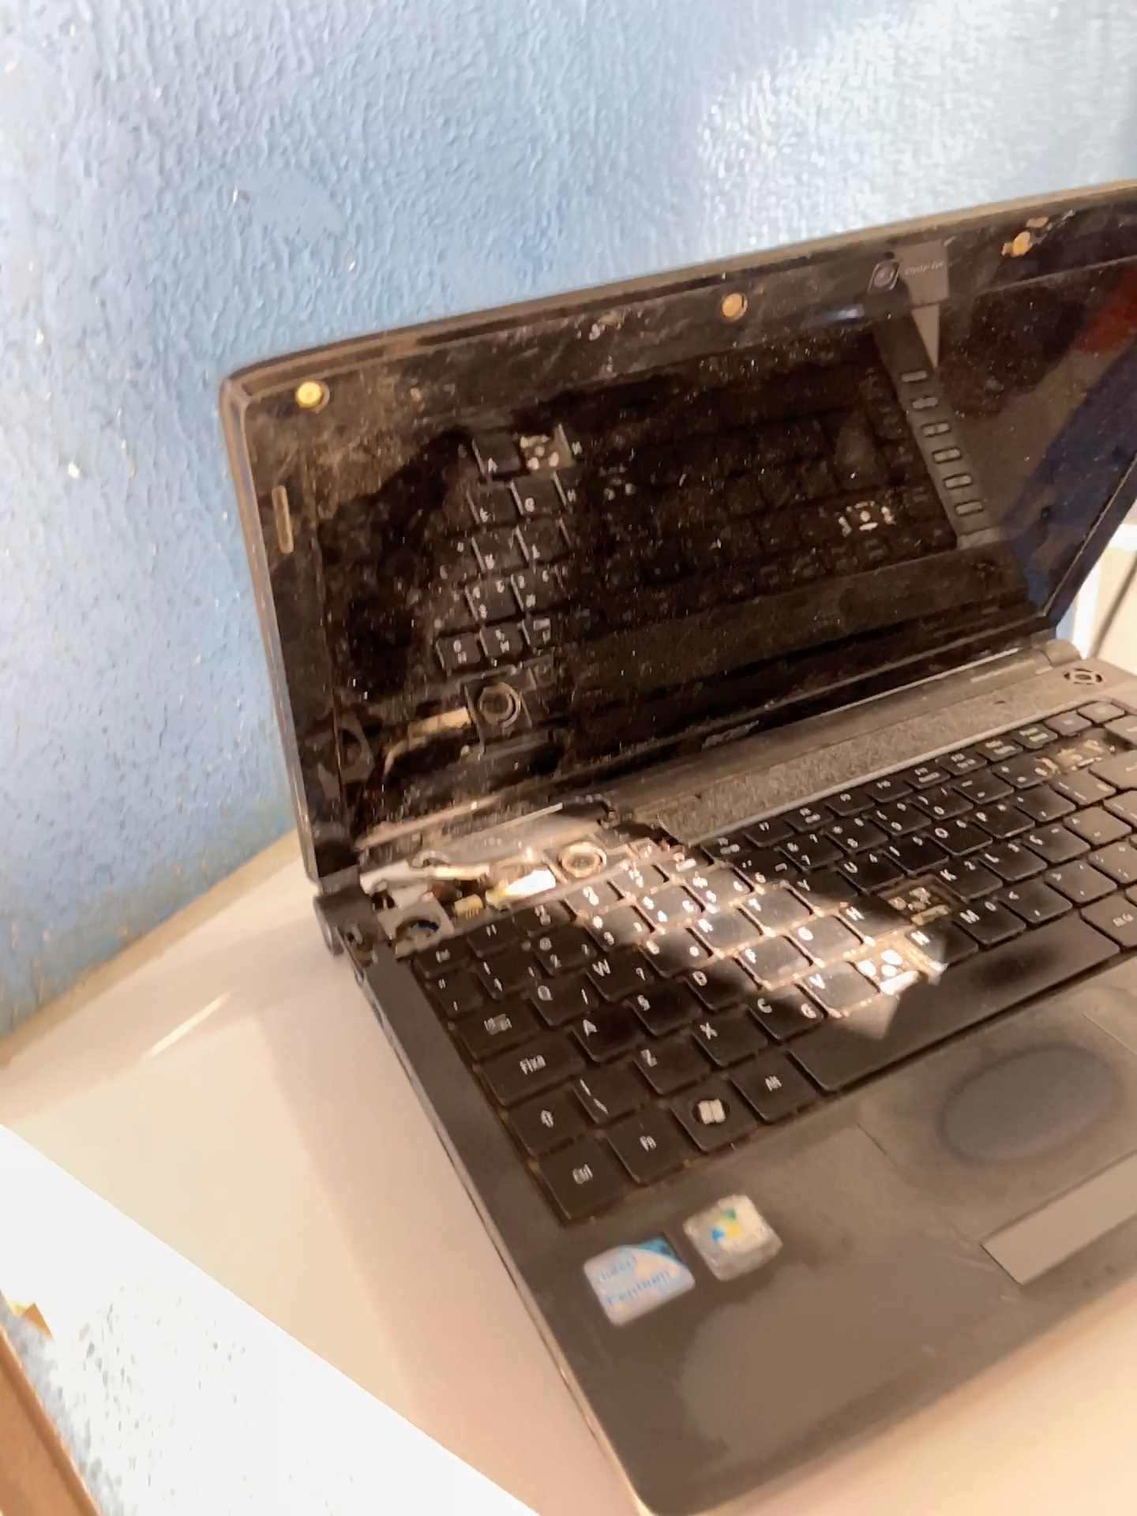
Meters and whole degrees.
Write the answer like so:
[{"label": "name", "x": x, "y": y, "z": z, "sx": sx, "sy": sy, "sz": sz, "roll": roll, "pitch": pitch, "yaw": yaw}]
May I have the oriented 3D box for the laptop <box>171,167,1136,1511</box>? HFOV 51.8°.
[{"label": "laptop", "x": 0.106, "y": -0.036, "z": 0.321, "sx": 0.334, "sy": 0.182, "sz": 0.229, "roll": -18, "pitch": 32, "yaw": -20}]
